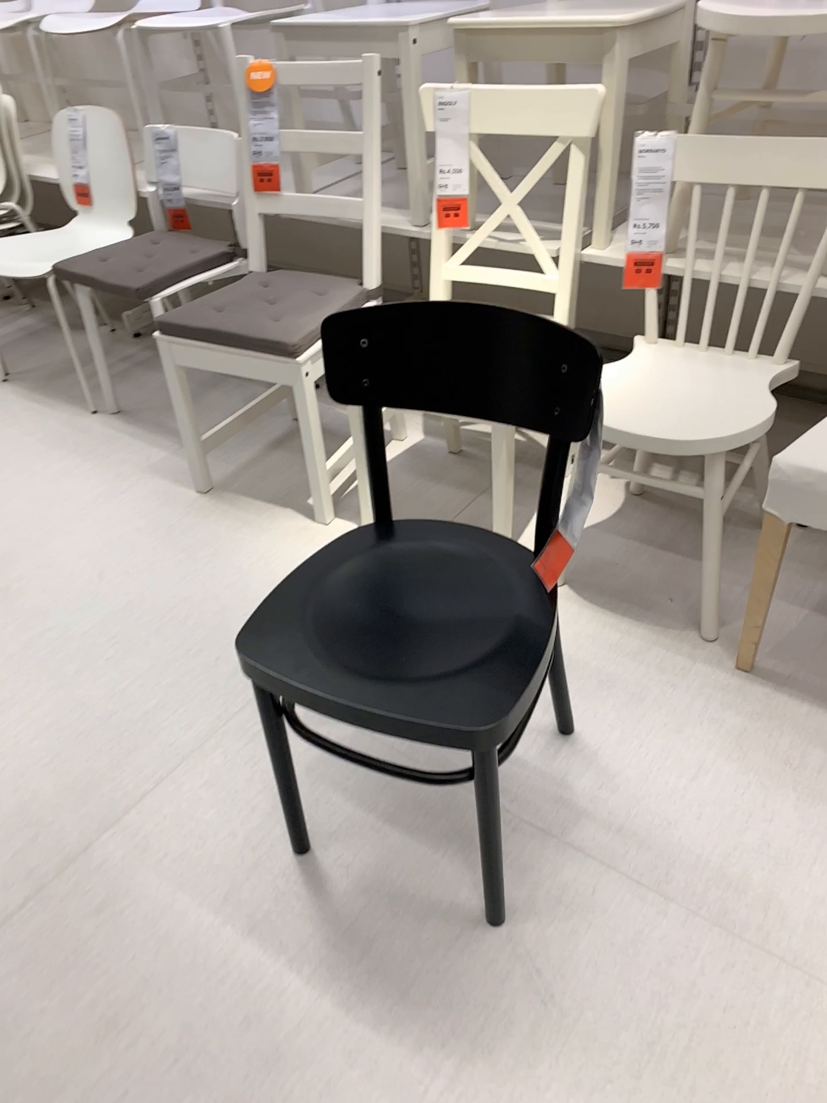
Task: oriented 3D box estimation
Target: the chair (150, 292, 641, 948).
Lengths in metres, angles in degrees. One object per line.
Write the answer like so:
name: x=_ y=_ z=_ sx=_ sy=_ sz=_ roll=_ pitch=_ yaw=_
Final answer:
chair: x=0.036 y=0.095 z=1.238 sx=0.431 sy=0.767 sz=0.471 roll=12 pitch=41 yaw=22
